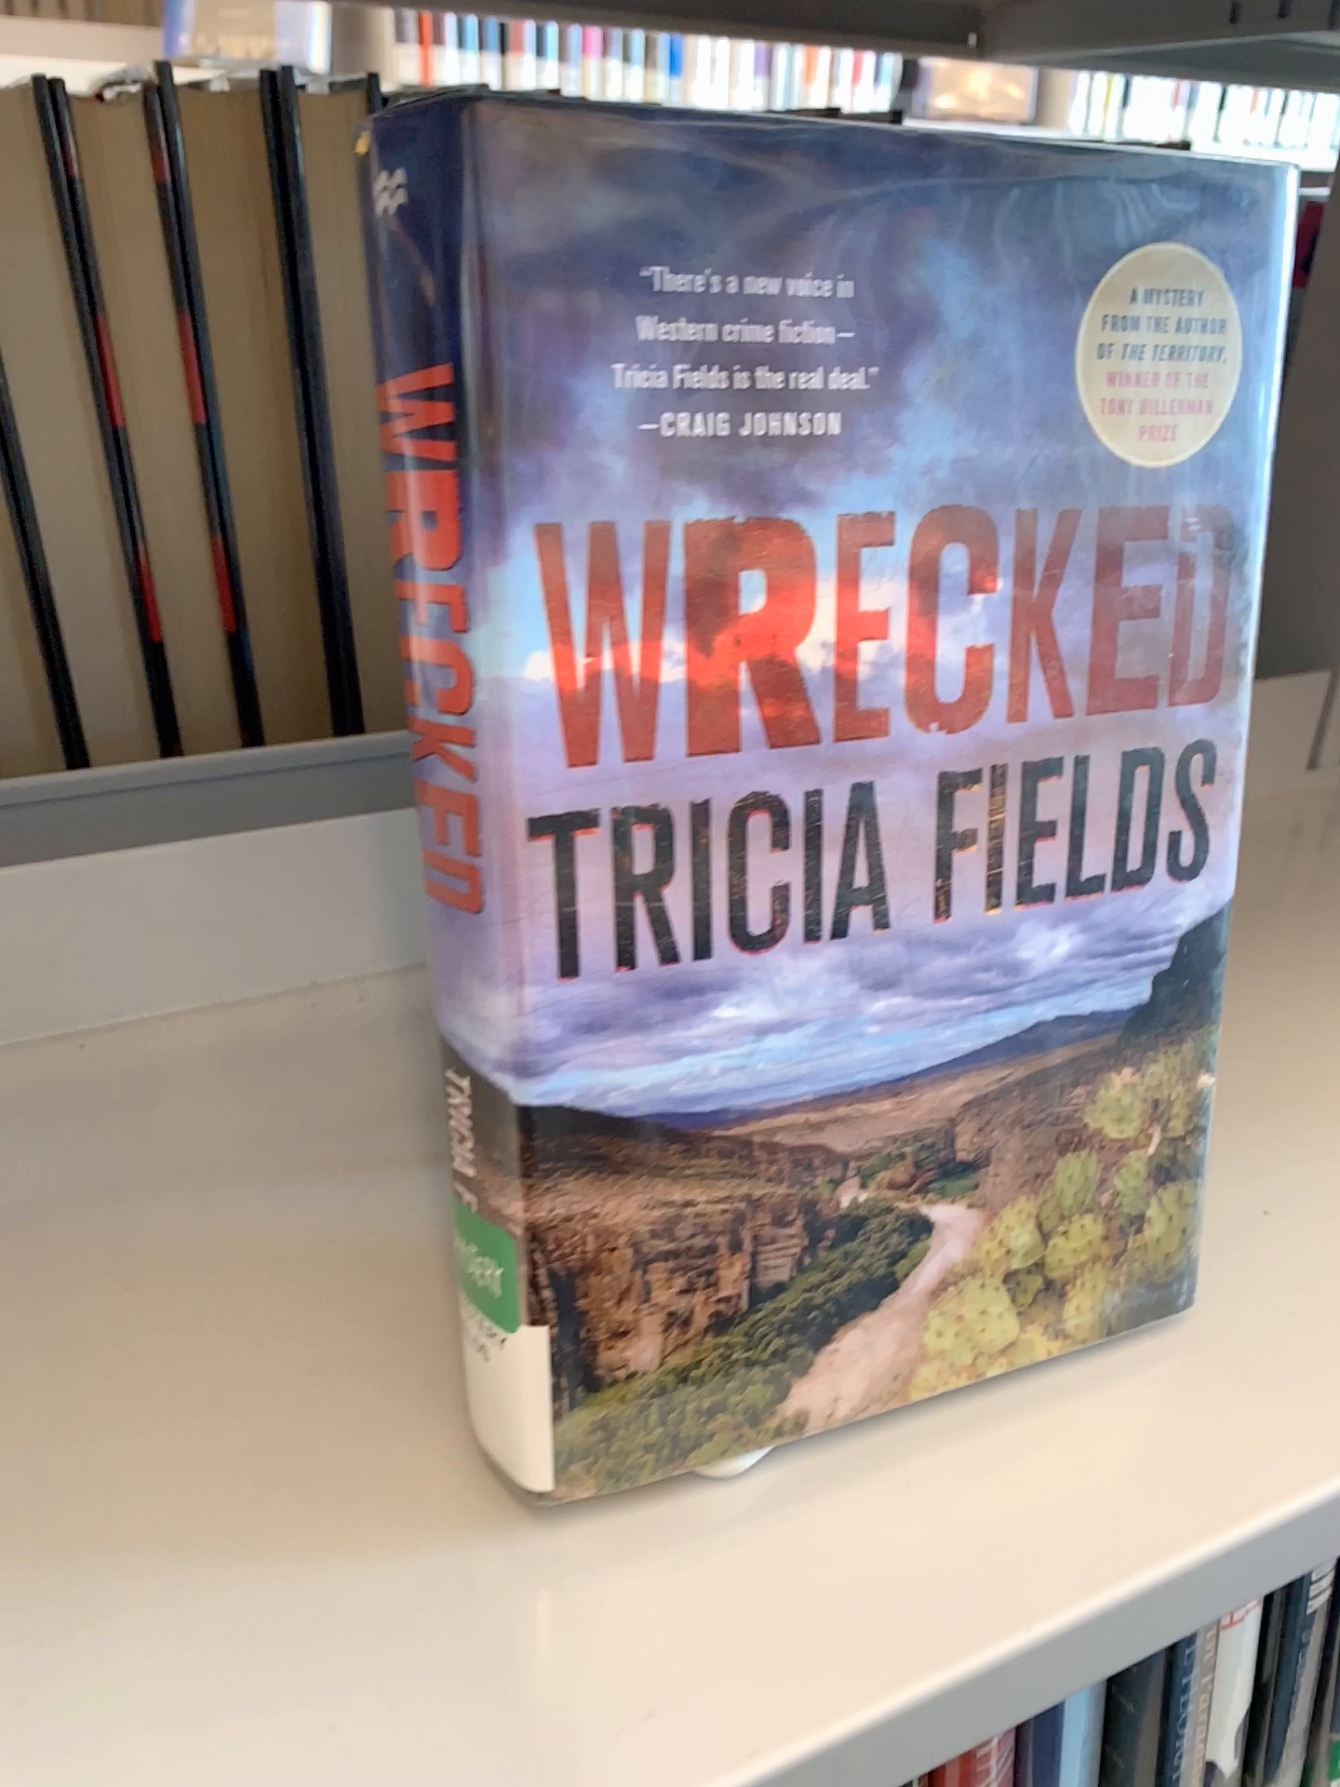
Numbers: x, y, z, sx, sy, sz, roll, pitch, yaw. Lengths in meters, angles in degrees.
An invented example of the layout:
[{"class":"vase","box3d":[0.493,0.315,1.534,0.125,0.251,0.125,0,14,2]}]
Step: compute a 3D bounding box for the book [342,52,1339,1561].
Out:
[{"class":"book","box3d":[0.035,-0.012,0.228,0.150,0.203,0.040,-9,18,-22]}]
